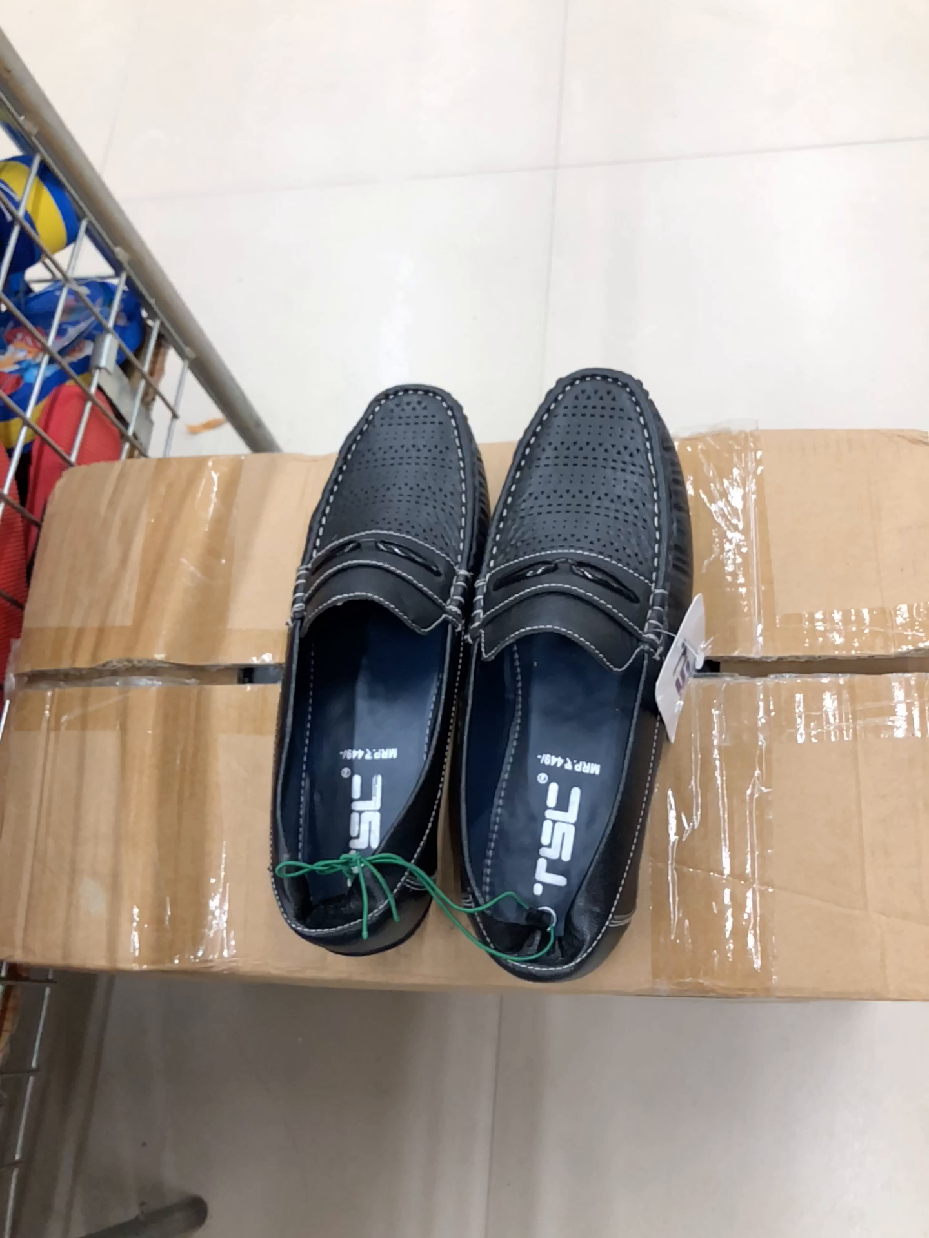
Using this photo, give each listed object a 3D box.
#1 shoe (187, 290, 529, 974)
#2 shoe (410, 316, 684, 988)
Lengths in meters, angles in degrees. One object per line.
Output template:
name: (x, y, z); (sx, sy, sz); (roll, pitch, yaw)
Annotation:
shoe: (-0.037, 0.001, 0.496); (0.100, 0.090, 0.311); (2, 69, 12)
shoe: (0.052, 0.010, 0.505); (0.100, 0.090, 0.311); (2, 69, 12)
